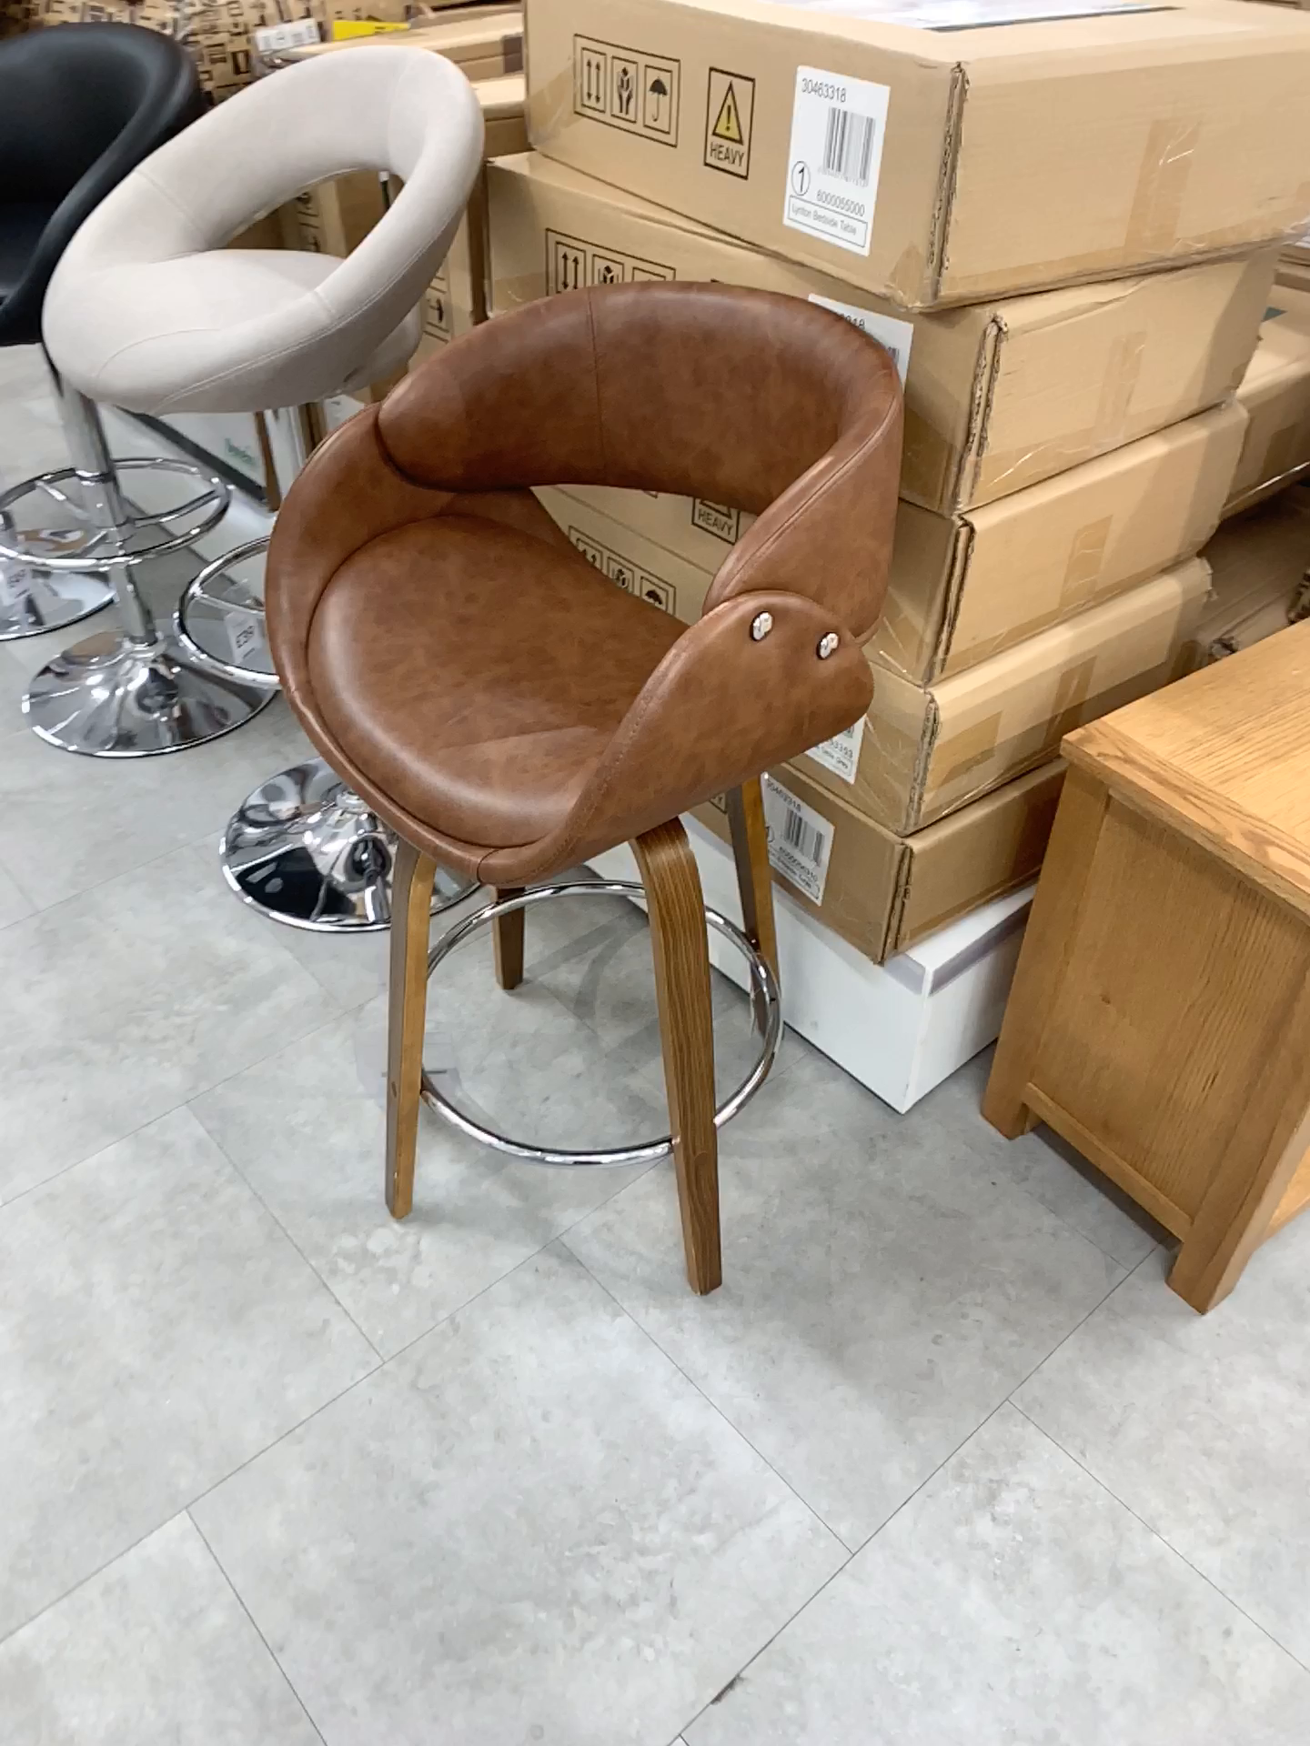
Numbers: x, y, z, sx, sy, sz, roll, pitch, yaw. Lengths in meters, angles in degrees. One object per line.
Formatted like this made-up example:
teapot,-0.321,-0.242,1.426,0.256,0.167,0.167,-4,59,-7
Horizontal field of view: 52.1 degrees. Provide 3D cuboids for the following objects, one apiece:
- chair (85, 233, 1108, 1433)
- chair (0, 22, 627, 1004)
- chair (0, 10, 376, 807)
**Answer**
chair,-0.055,-0.045,1.281,0.552,0.846,0.547,-28,48,-29
chair,-0.398,-0.430,1.649,0.522,0.945,0.496,-31,50,-31
chair,-0.794,-0.657,1.919,0.472,0.886,0.496,-31,49,-31
